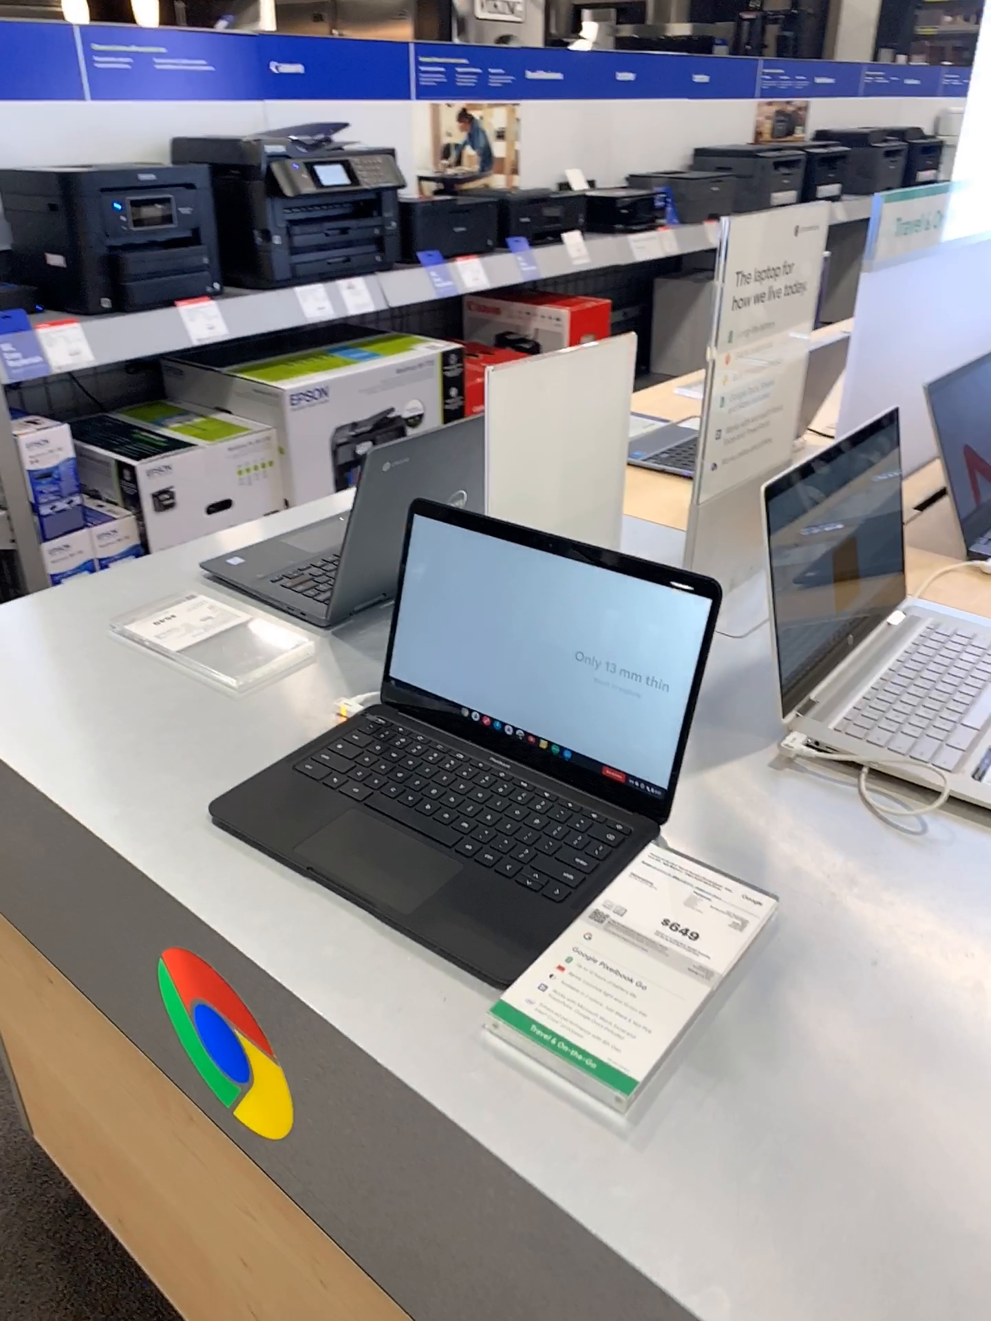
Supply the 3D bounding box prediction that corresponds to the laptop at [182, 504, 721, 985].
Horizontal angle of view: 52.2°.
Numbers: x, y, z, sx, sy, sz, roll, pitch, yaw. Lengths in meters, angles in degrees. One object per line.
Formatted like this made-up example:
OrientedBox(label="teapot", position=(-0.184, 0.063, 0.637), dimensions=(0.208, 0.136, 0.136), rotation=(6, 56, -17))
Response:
OrientedBox(label="laptop", position=(-0.030, 0.035, 0.770), dimensions=(0.294, 0.180, 0.254), rotation=(20, 35, 32))
